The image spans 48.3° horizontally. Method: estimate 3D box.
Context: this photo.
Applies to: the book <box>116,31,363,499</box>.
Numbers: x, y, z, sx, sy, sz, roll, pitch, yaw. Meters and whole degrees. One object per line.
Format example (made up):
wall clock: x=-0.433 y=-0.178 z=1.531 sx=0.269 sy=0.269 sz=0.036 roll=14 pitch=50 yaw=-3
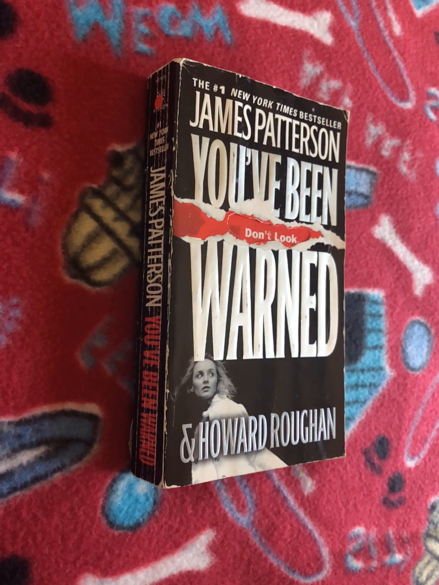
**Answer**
book: x=0.014 y=-0.009 z=0.245 sx=0.110 sy=0.040 sz=0.190 roll=4 pitch=90 yaw=-34
